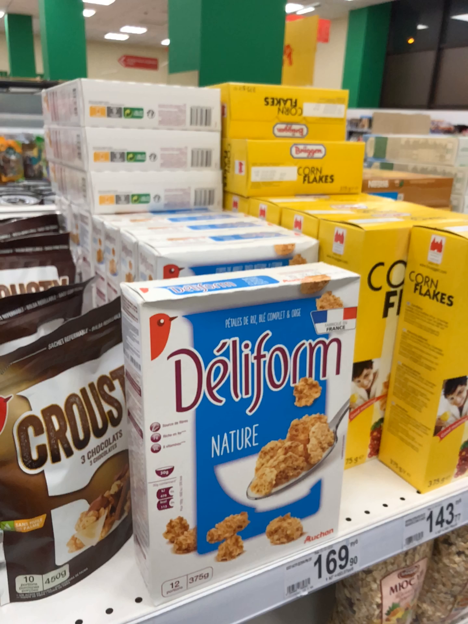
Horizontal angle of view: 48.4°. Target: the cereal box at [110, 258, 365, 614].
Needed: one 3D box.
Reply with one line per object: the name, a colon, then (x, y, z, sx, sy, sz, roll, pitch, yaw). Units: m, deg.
cereal box: (0.005, 0.099, 0.458, 0.200, 0.269, 0.060, -8, 20, -26)
